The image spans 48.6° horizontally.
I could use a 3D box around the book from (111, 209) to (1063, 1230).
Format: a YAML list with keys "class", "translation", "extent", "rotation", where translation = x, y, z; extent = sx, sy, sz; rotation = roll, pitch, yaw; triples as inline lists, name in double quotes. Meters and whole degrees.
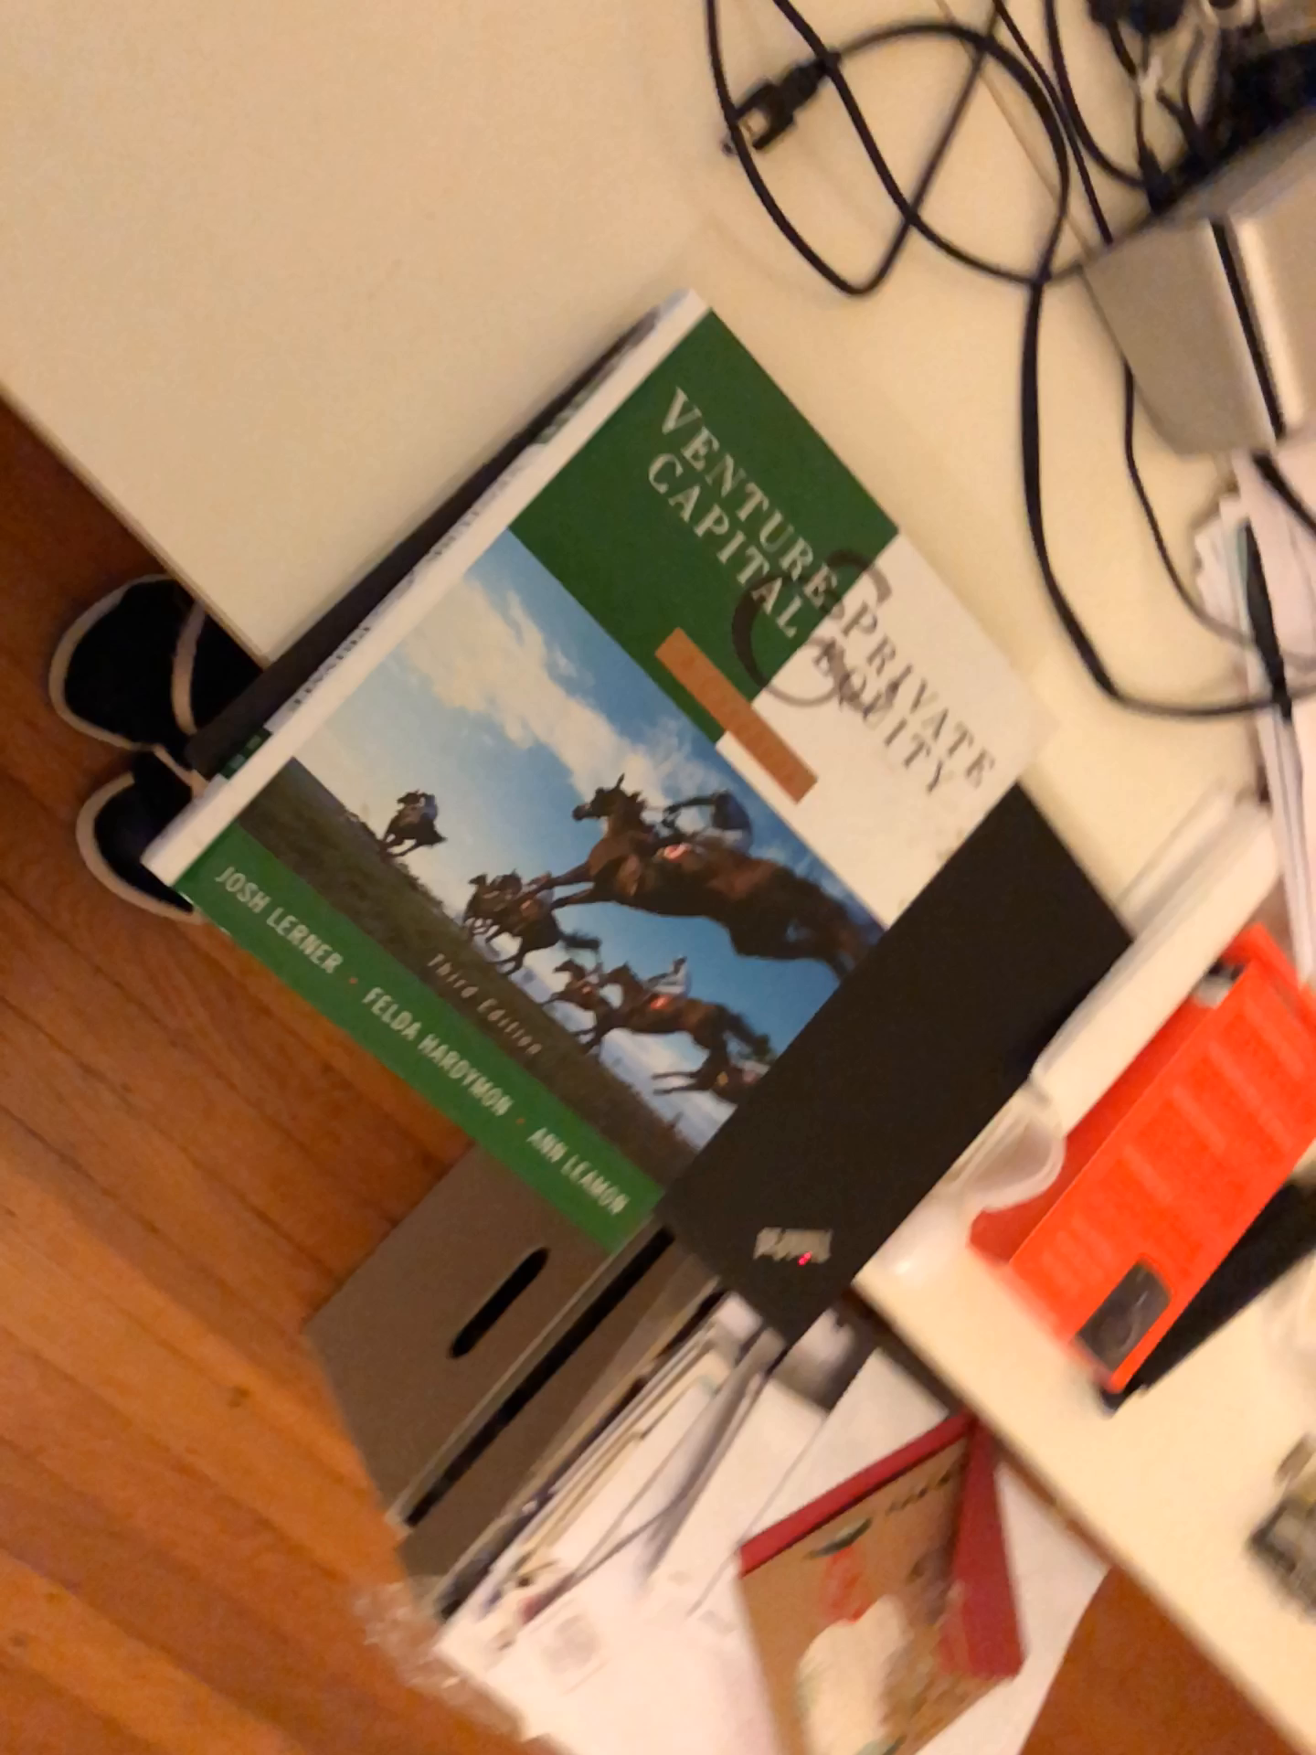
- class: "book"
  translation: [-0.008, -0.049, 0.512]
  extent: [0.220, 0.030, 0.270]
  rotation: [44, 79, -22]
